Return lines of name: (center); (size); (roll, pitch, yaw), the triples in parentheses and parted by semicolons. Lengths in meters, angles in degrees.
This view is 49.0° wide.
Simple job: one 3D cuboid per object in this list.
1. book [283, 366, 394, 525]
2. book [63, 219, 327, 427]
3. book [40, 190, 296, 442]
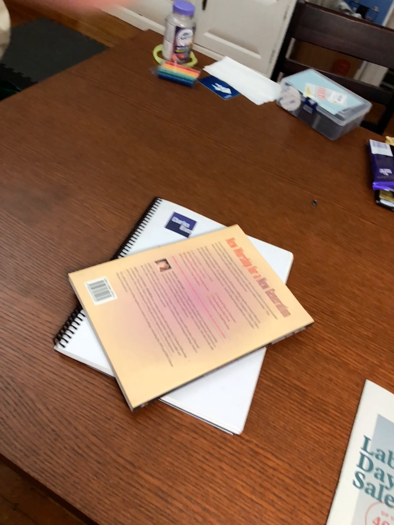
book: (0.220, 0.257, 0.417); (0.200, 0.010, 0.271); (28, 49, 10)
book: (0.000, 0.050, 0.523); (0.261, 0.020, 0.190); (-19, 57, -27)
book: (-0.013, 0.040, 0.551); (0.230, 0.020, 0.292); (22, 49, 5)
